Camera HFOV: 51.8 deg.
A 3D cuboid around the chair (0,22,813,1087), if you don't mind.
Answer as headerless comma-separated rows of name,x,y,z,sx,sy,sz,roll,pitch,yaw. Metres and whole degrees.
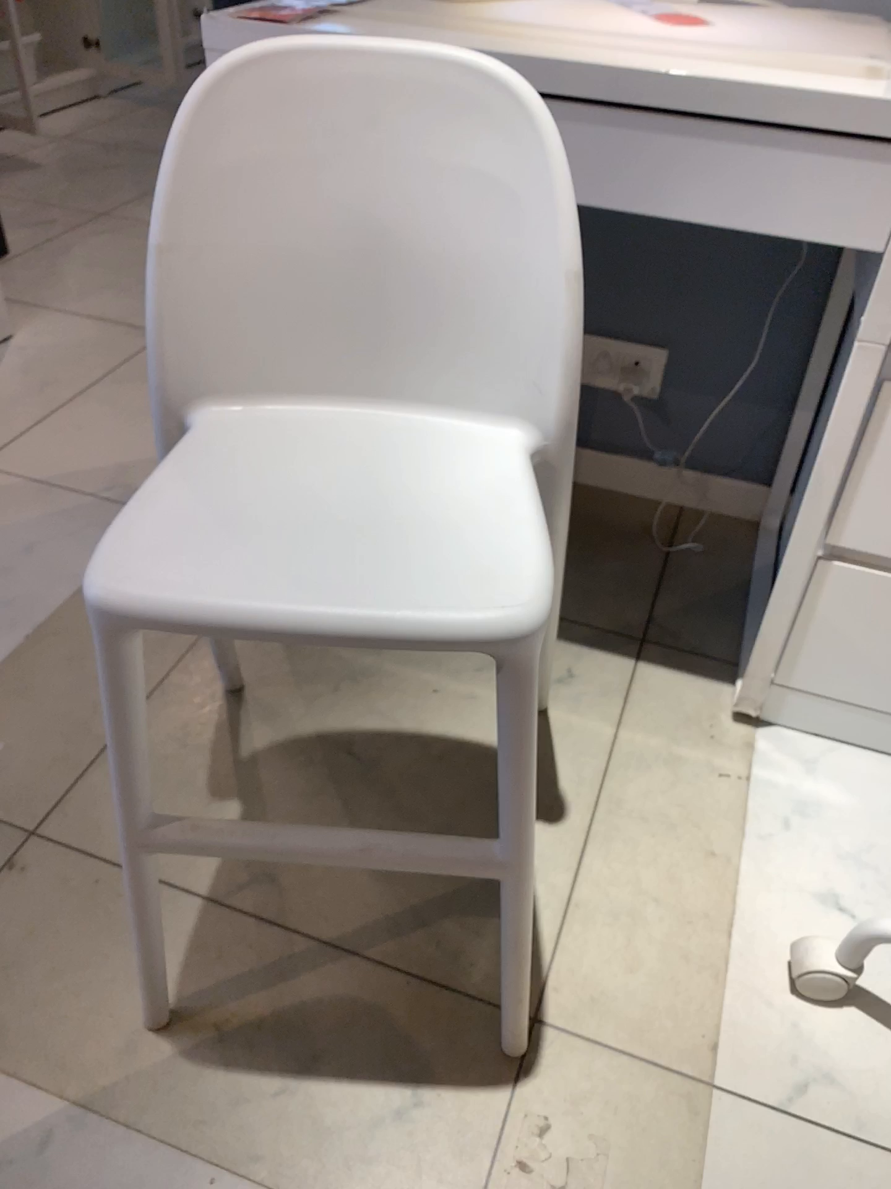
chair,-0.079,-0.014,0.785,0.450,0.727,0.492,5,40,2
